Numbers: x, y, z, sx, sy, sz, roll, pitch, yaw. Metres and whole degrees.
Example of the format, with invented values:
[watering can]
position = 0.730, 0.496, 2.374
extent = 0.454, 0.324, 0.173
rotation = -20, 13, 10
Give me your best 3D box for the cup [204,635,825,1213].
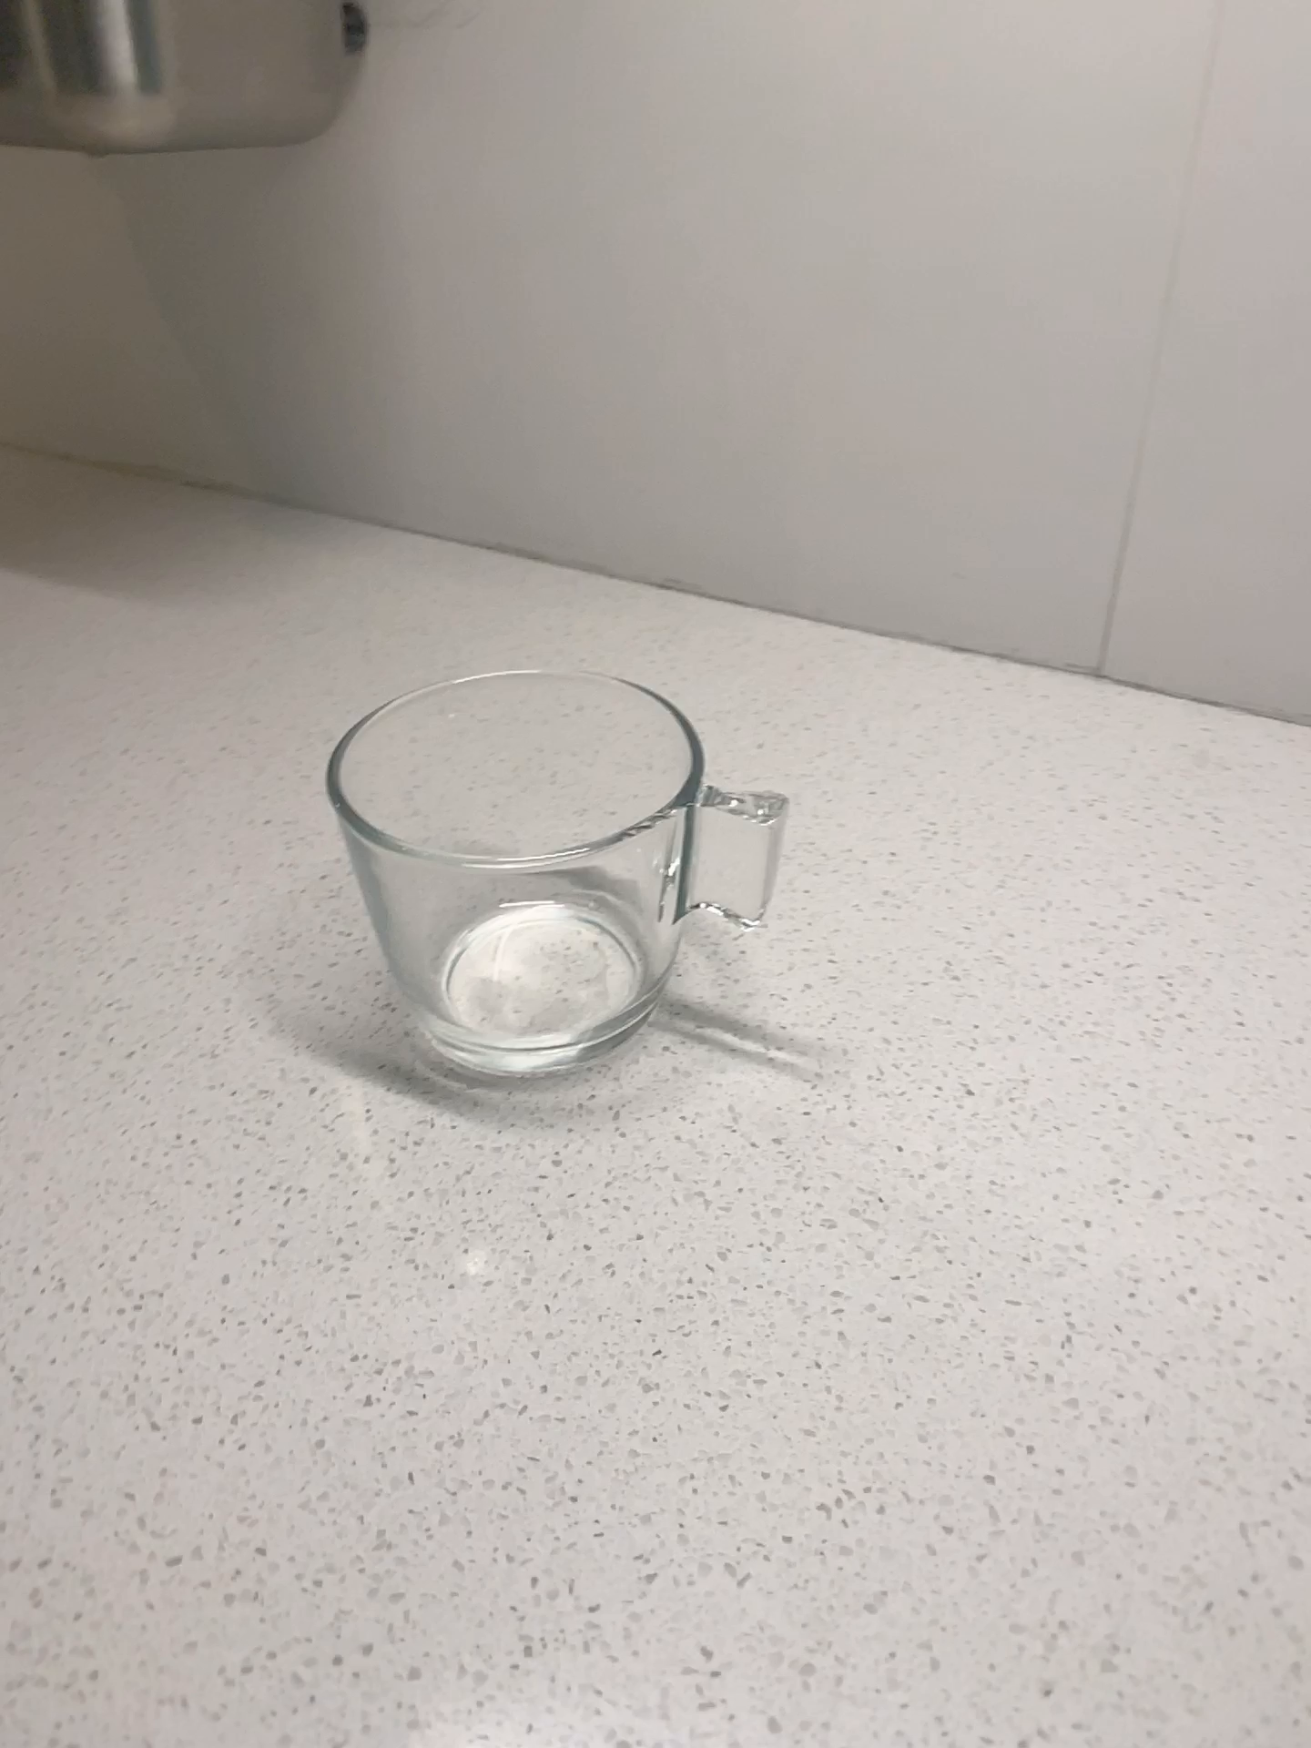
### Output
[cup]
position = -0.028, 0.006, 0.328
extent = 0.110, 0.080, 0.090
rotation = 14, 39, 20
